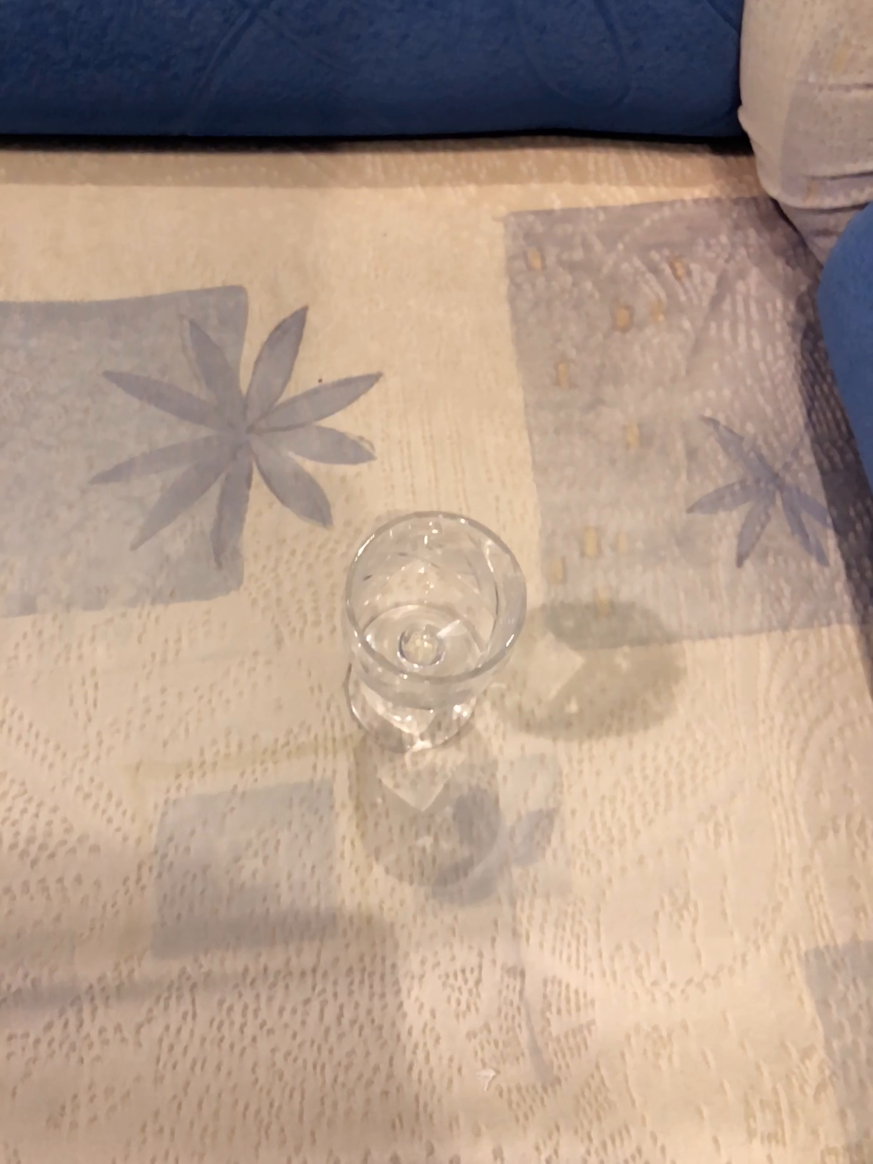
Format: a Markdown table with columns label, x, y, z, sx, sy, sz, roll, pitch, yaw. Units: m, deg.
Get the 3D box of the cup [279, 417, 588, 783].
| label | x | y | z | sx | sy | sz | roll | pitch | yaw |
| --- | --- | --- | --- | --- | --- | --- | --- | --- | --- |
| cup | -0.004 | 0.014 | 0.312 | 0.060 | 0.120 | 0.060 | 2 | 69 | -4 |
